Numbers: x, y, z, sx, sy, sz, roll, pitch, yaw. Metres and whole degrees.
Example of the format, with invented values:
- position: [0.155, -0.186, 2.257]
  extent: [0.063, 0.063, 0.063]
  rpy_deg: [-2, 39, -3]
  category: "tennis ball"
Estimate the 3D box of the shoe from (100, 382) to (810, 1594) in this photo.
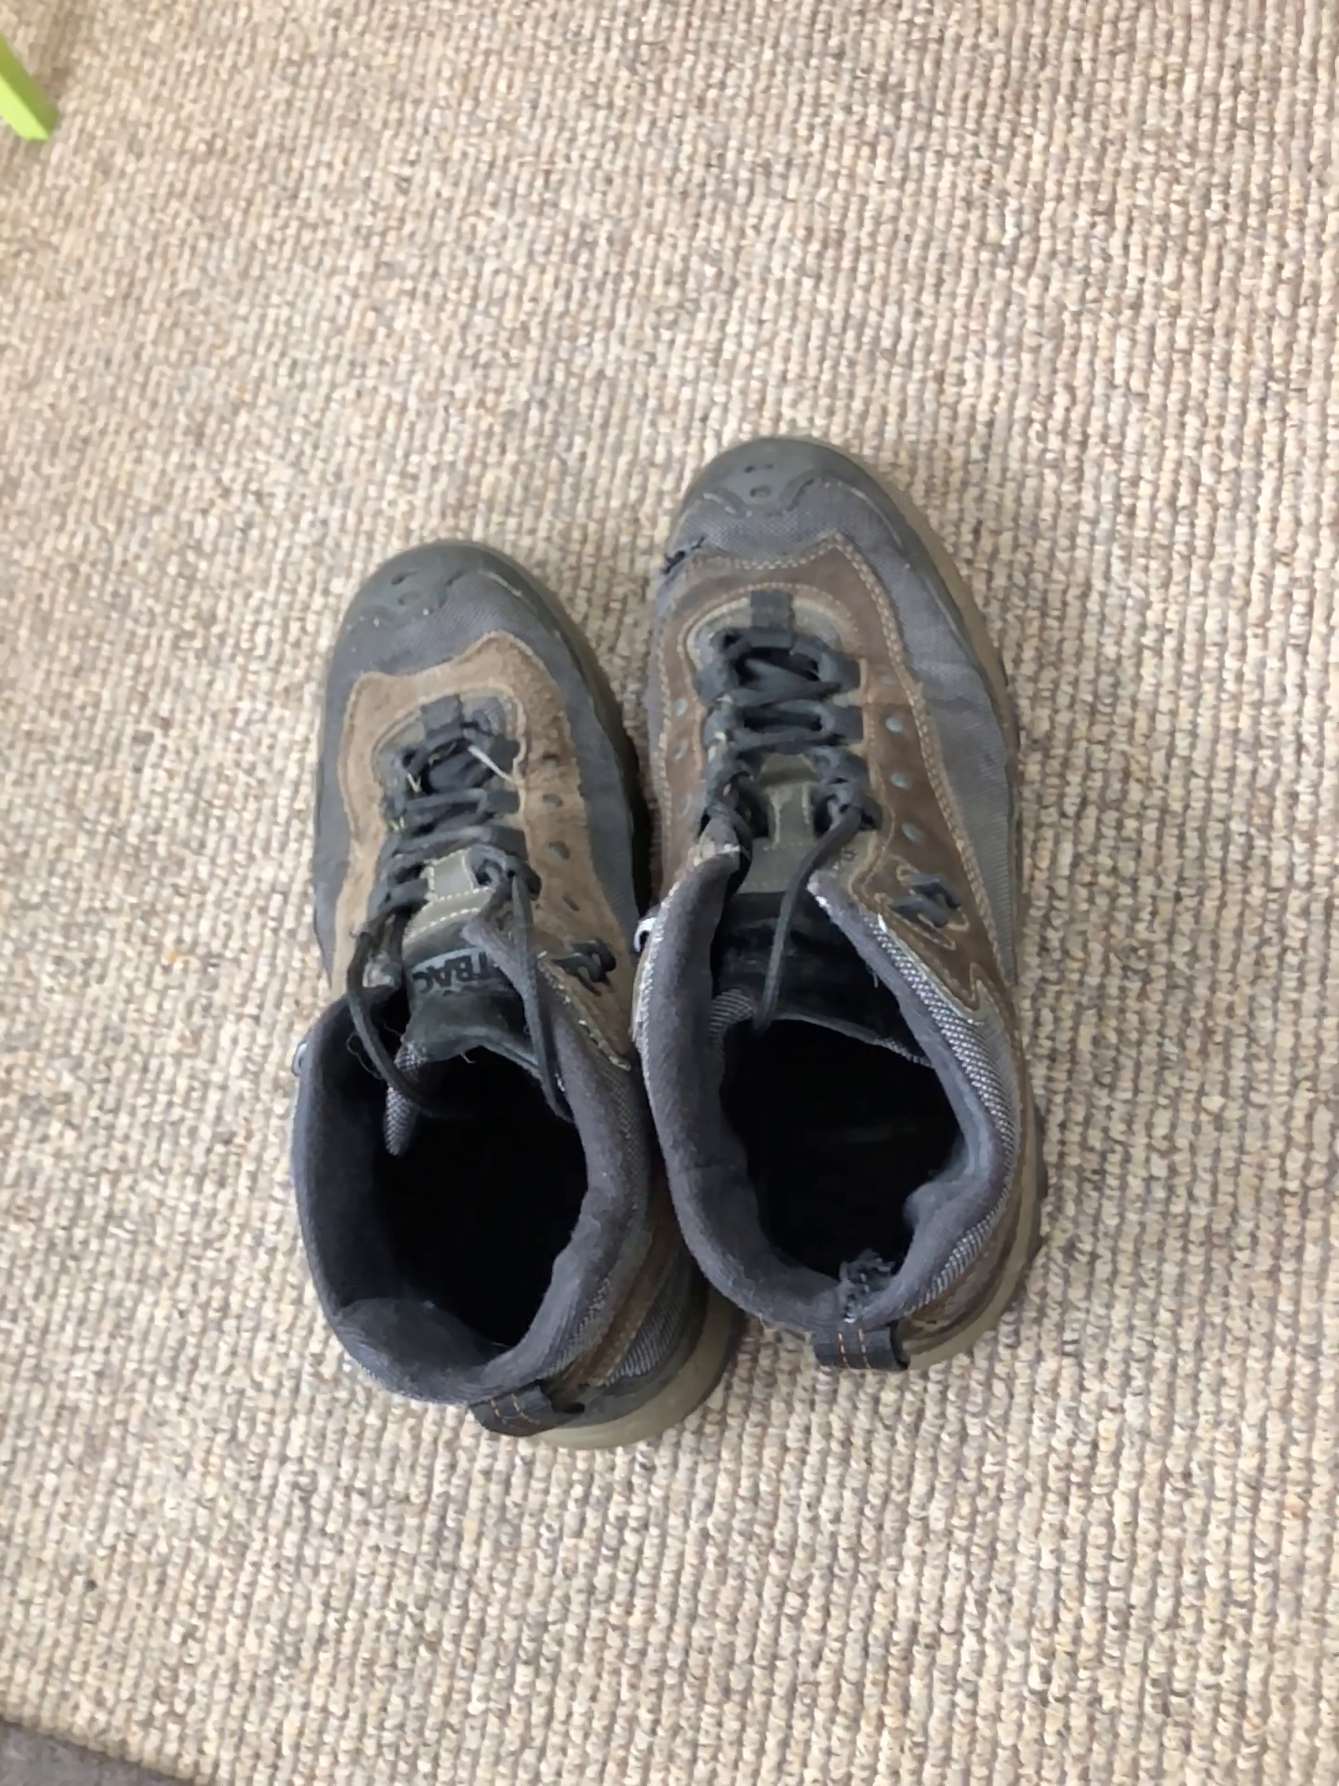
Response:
- position: [-0.058, 0.026, 0.427]
  extent: [0.116, 0.135, 0.280]
  rpy_deg: [-16, 72, 7]
  category: "shoe"

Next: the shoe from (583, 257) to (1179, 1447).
- position: [0.052, -0.003, 0.412]
  extent: [0.118, 0.138, 0.280]
  rpy_deg: [-5, 74, 10]
  category: "shoe"
